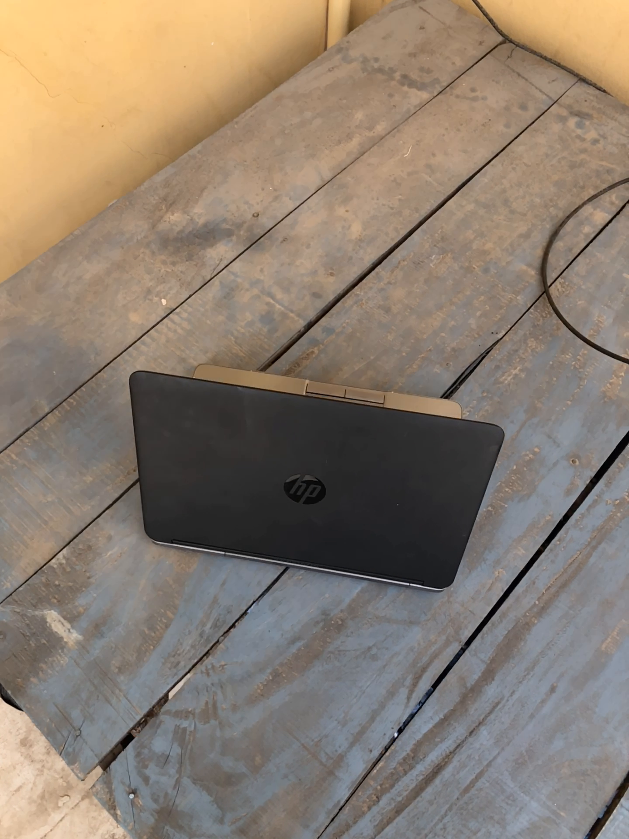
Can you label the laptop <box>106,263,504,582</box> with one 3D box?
[{"bbox_3d":[0.001,0.011,0.694,0.316,0.196,0.211,9,64,4],"label":"laptop"}]
